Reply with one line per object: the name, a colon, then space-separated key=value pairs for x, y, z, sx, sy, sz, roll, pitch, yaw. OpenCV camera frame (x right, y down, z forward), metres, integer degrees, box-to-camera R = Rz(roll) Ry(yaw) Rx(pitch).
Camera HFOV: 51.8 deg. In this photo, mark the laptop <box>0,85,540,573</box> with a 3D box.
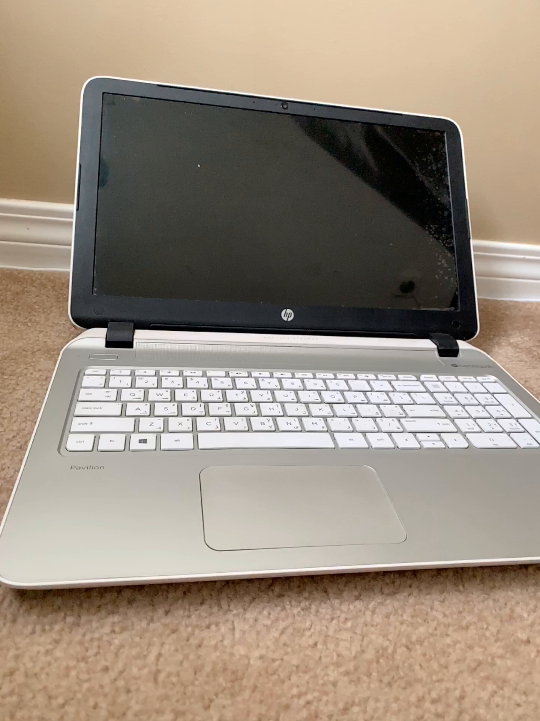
laptop: x=0.039 y=-0.066 z=0.393 sx=0.349 sy=0.187 sz=0.351 roll=1 pitch=28 yaw=-11
